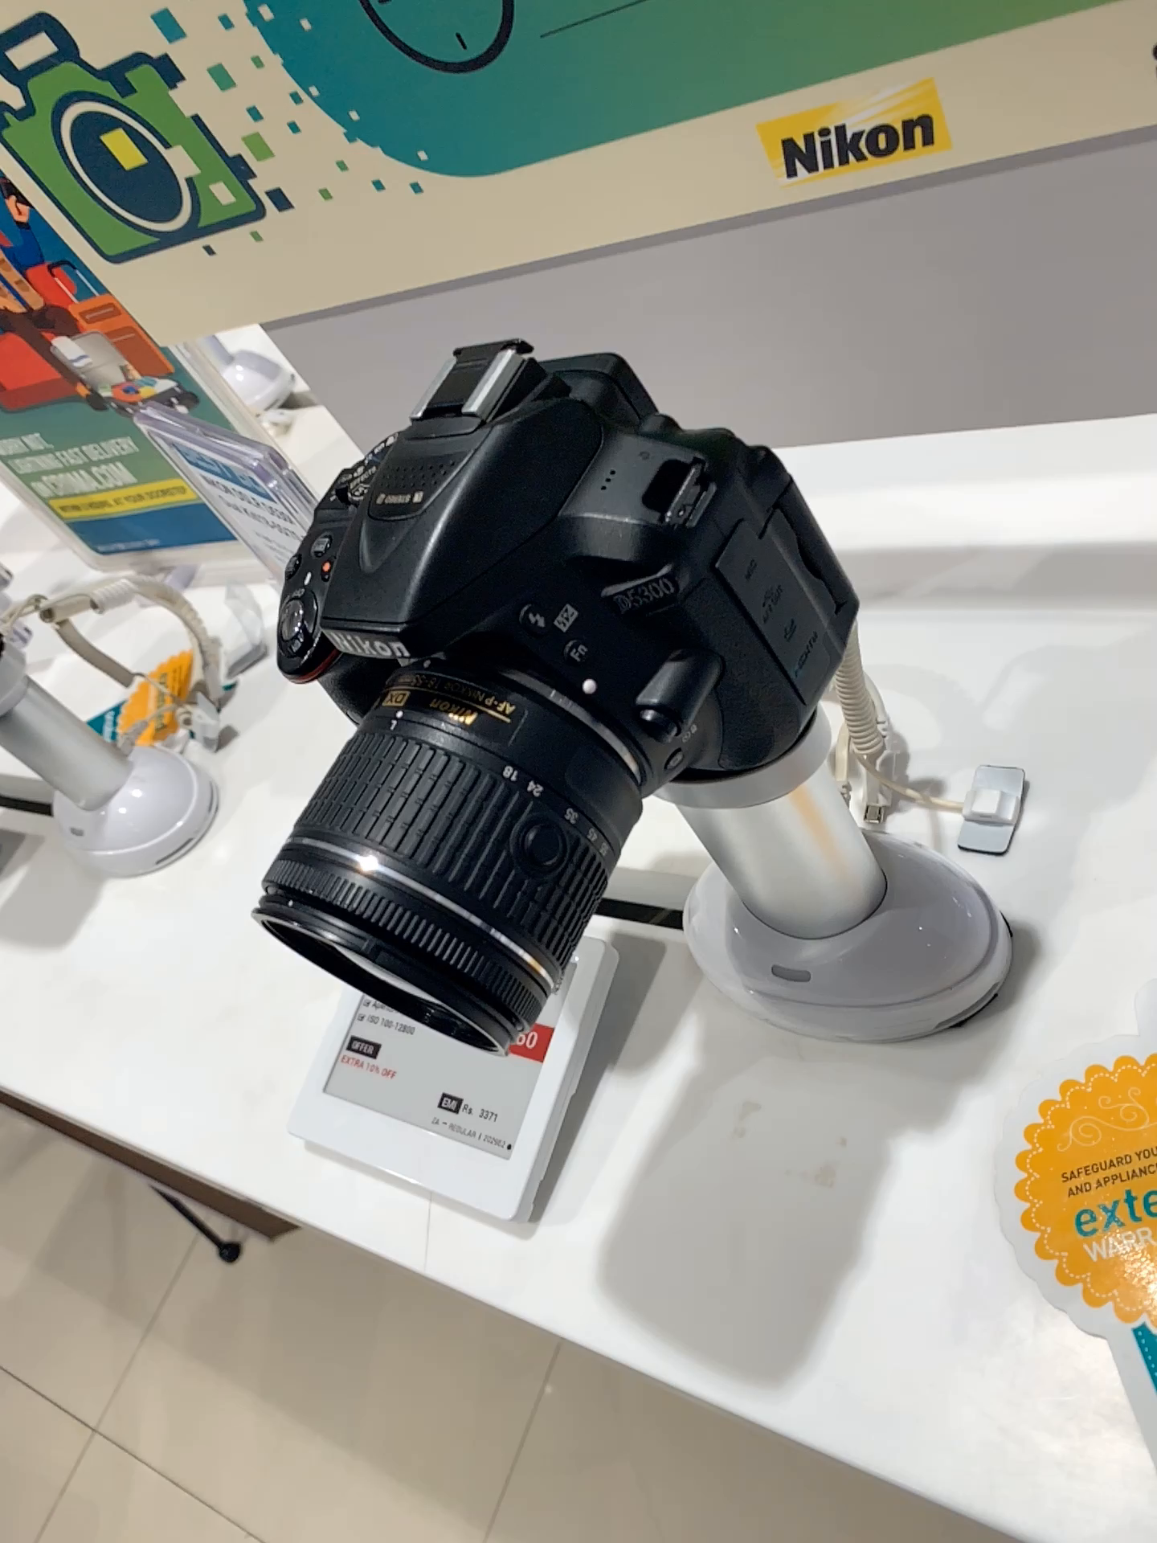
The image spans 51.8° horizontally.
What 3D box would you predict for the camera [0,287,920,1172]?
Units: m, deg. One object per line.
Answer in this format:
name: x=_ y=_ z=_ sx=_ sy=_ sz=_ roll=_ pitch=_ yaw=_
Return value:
camera: x=-0.017 y=-0.011 z=0.233 sx=0.119 sy=0.082 sz=0.122 roll=5 pitch=57 yaw=36
